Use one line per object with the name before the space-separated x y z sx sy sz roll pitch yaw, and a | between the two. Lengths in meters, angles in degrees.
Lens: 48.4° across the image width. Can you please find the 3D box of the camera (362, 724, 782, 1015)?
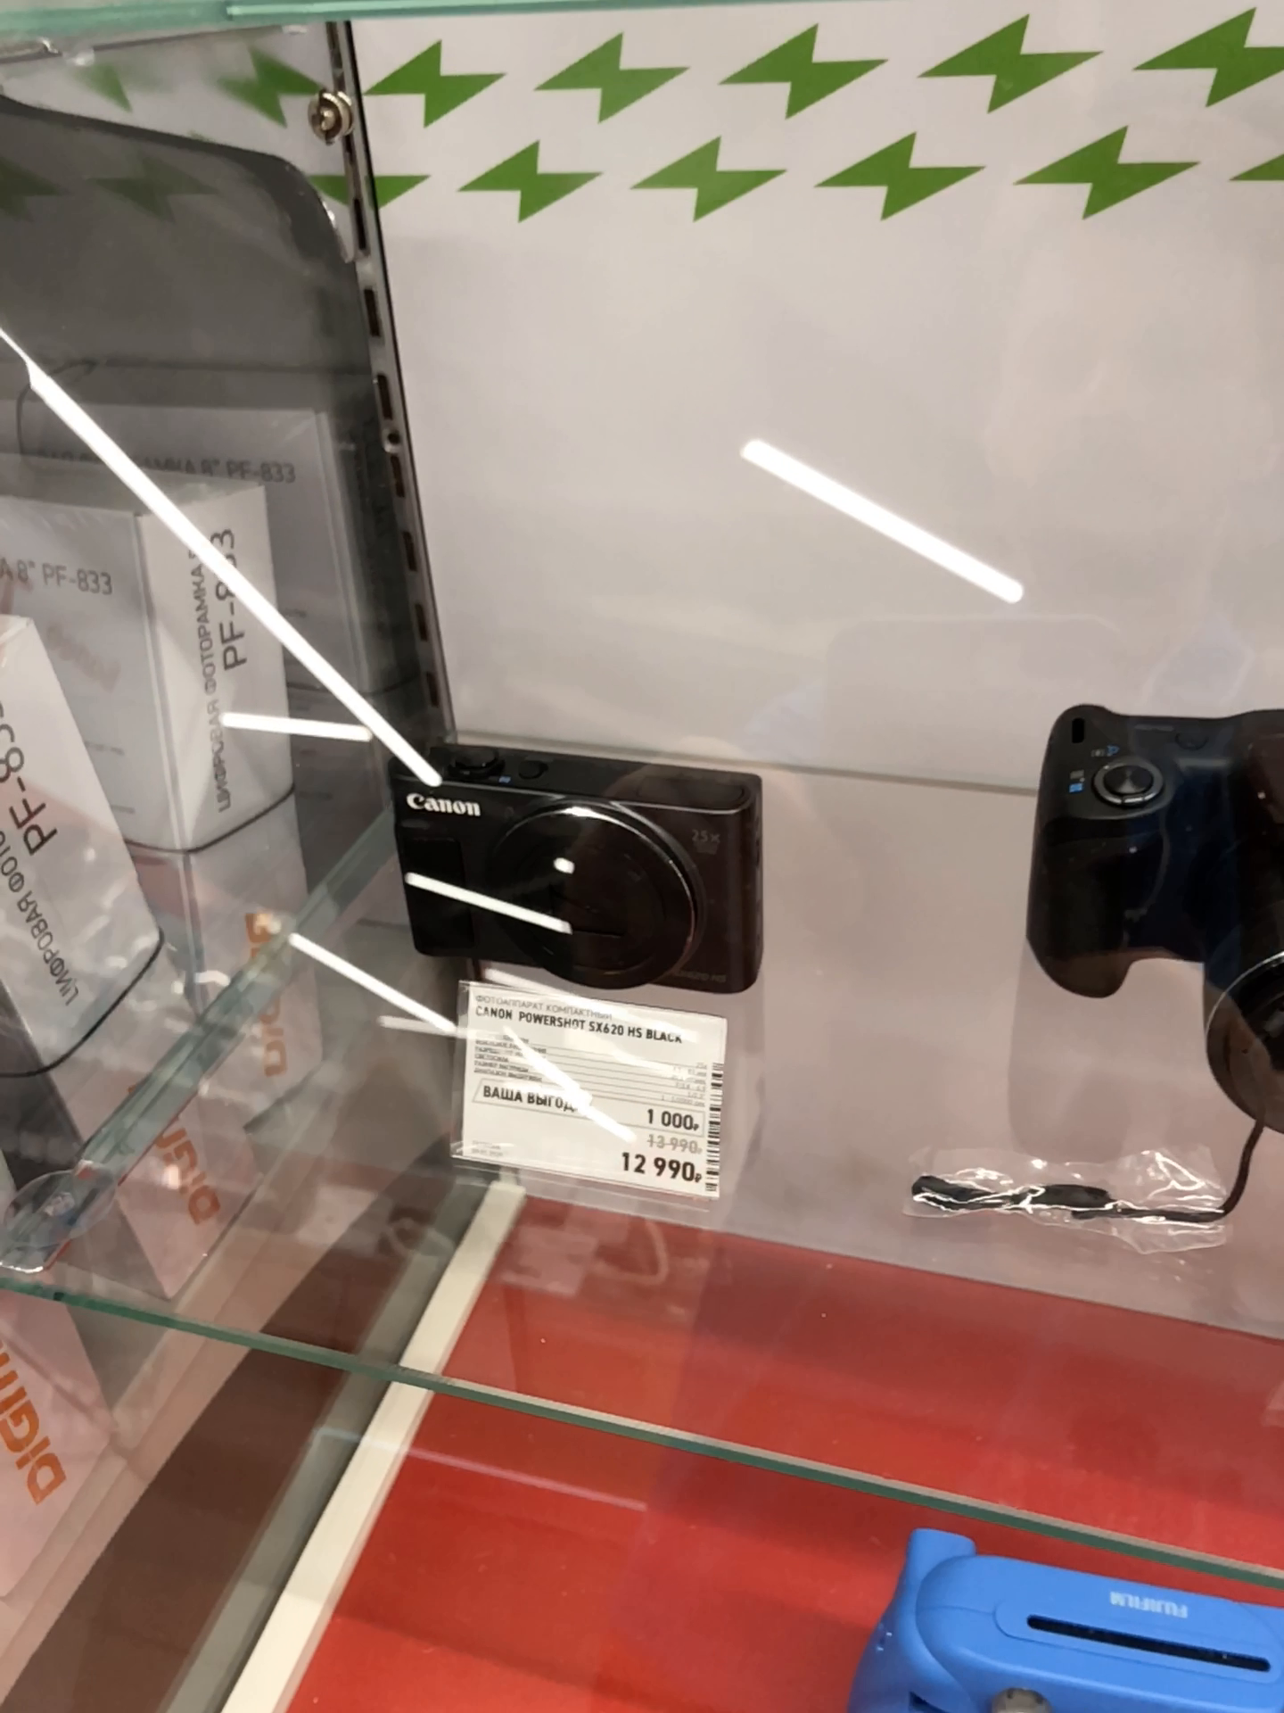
camera | -0.016 0.002 0.363 0.098 0.055 0.030 7 34 16
